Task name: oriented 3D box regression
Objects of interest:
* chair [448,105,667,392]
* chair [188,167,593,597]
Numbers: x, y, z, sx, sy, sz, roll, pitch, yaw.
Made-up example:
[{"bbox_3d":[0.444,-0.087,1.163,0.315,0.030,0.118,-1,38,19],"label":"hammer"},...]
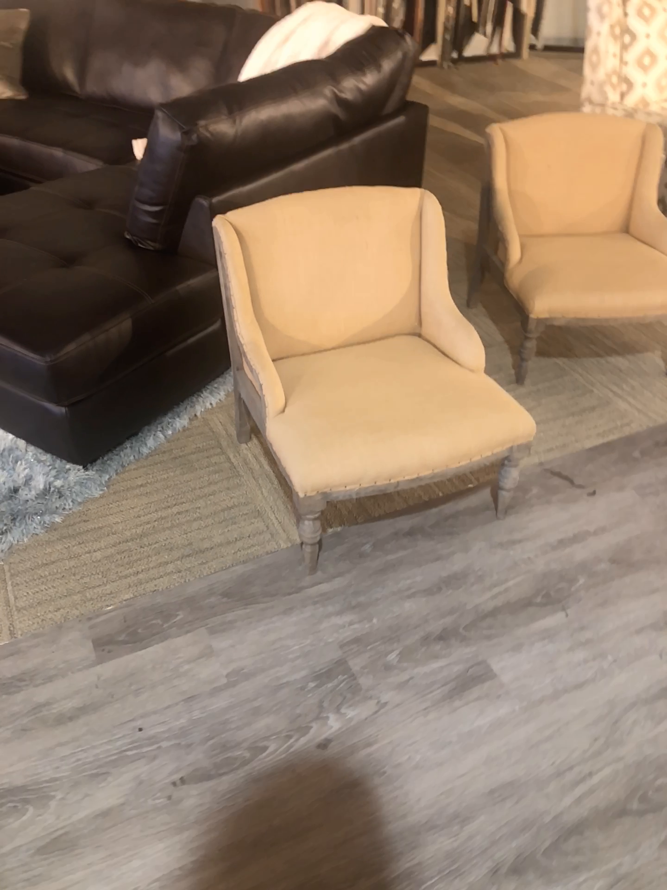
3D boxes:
[{"bbox_3d":[0.806,-0.655,2.341,0.627,0.625,0.722,-5,38,-8],"label":"chair"},{"bbox_3d":[0.078,-0.193,1.780,0.637,0.685,0.671,-14,40,-19],"label":"chair"}]
